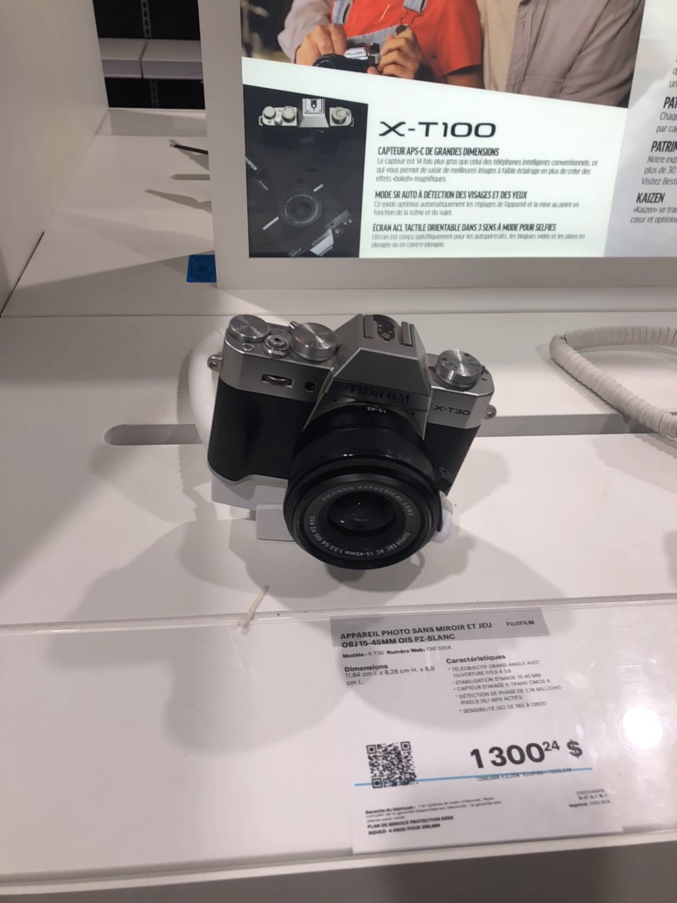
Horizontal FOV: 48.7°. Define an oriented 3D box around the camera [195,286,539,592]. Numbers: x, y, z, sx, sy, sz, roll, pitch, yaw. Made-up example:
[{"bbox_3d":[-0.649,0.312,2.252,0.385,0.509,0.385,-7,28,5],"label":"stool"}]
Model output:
[{"bbox_3d":[0.008,-0.007,0.347,0.130,0.089,0.091,7,38,-4],"label":"camera"}]
